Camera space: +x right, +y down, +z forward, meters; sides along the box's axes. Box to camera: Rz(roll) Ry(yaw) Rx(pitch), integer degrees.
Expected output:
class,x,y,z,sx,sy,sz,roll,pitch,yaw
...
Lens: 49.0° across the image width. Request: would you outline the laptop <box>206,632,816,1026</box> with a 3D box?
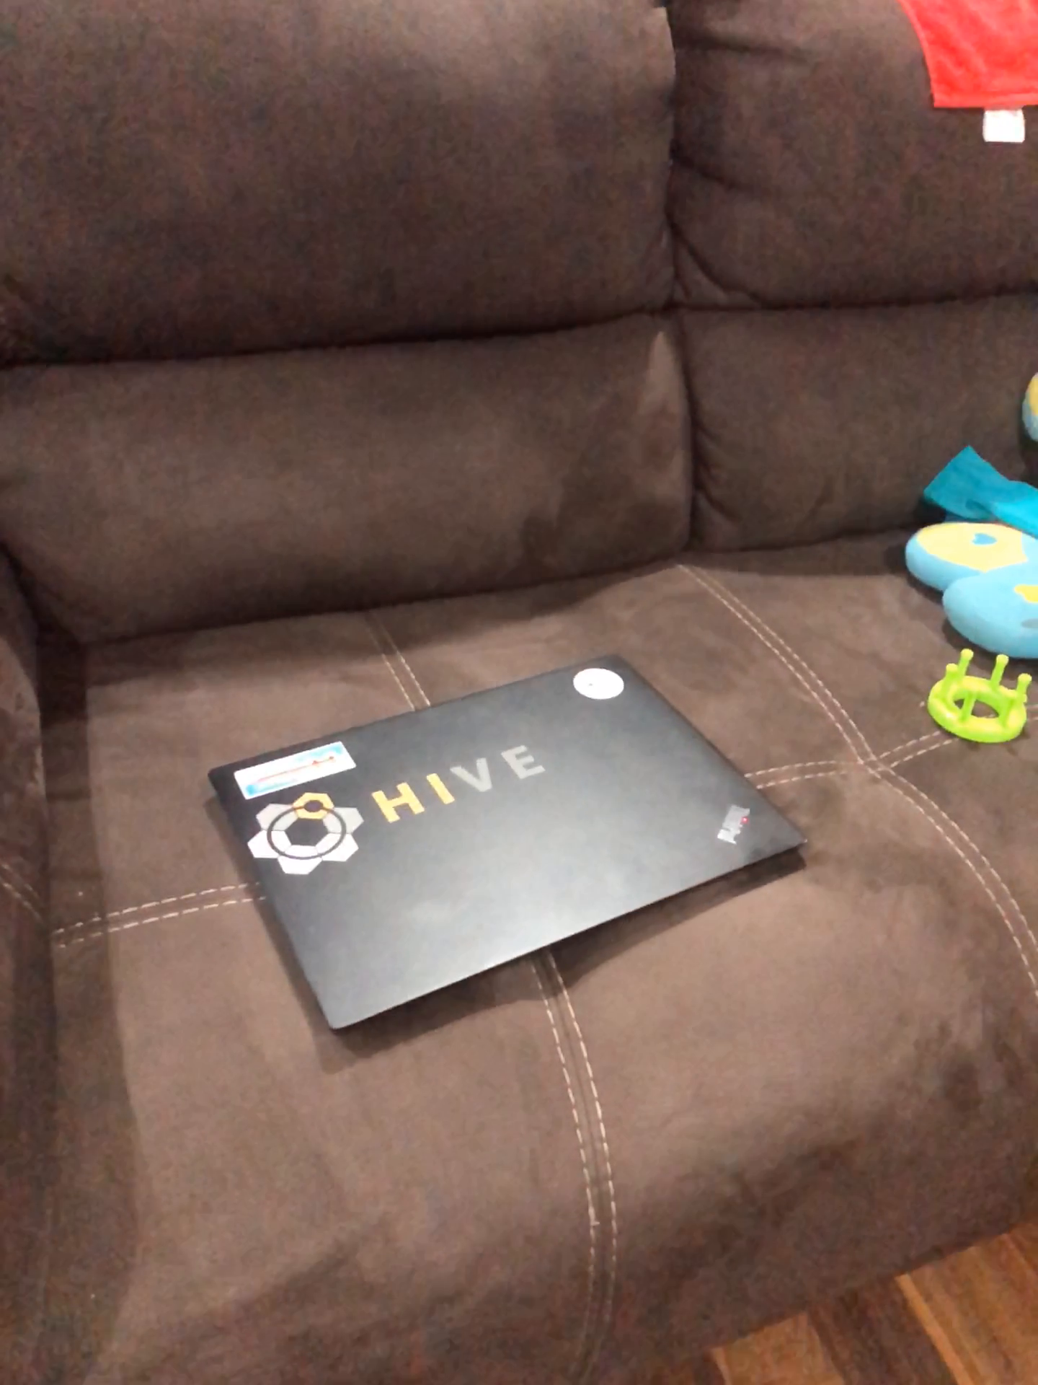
class,x,y,z,sx,sy,sz,roll,pitch,yaw
laptop,-0.011,0.067,0.756,0.329,0.019,0.236,-17,40,-22
